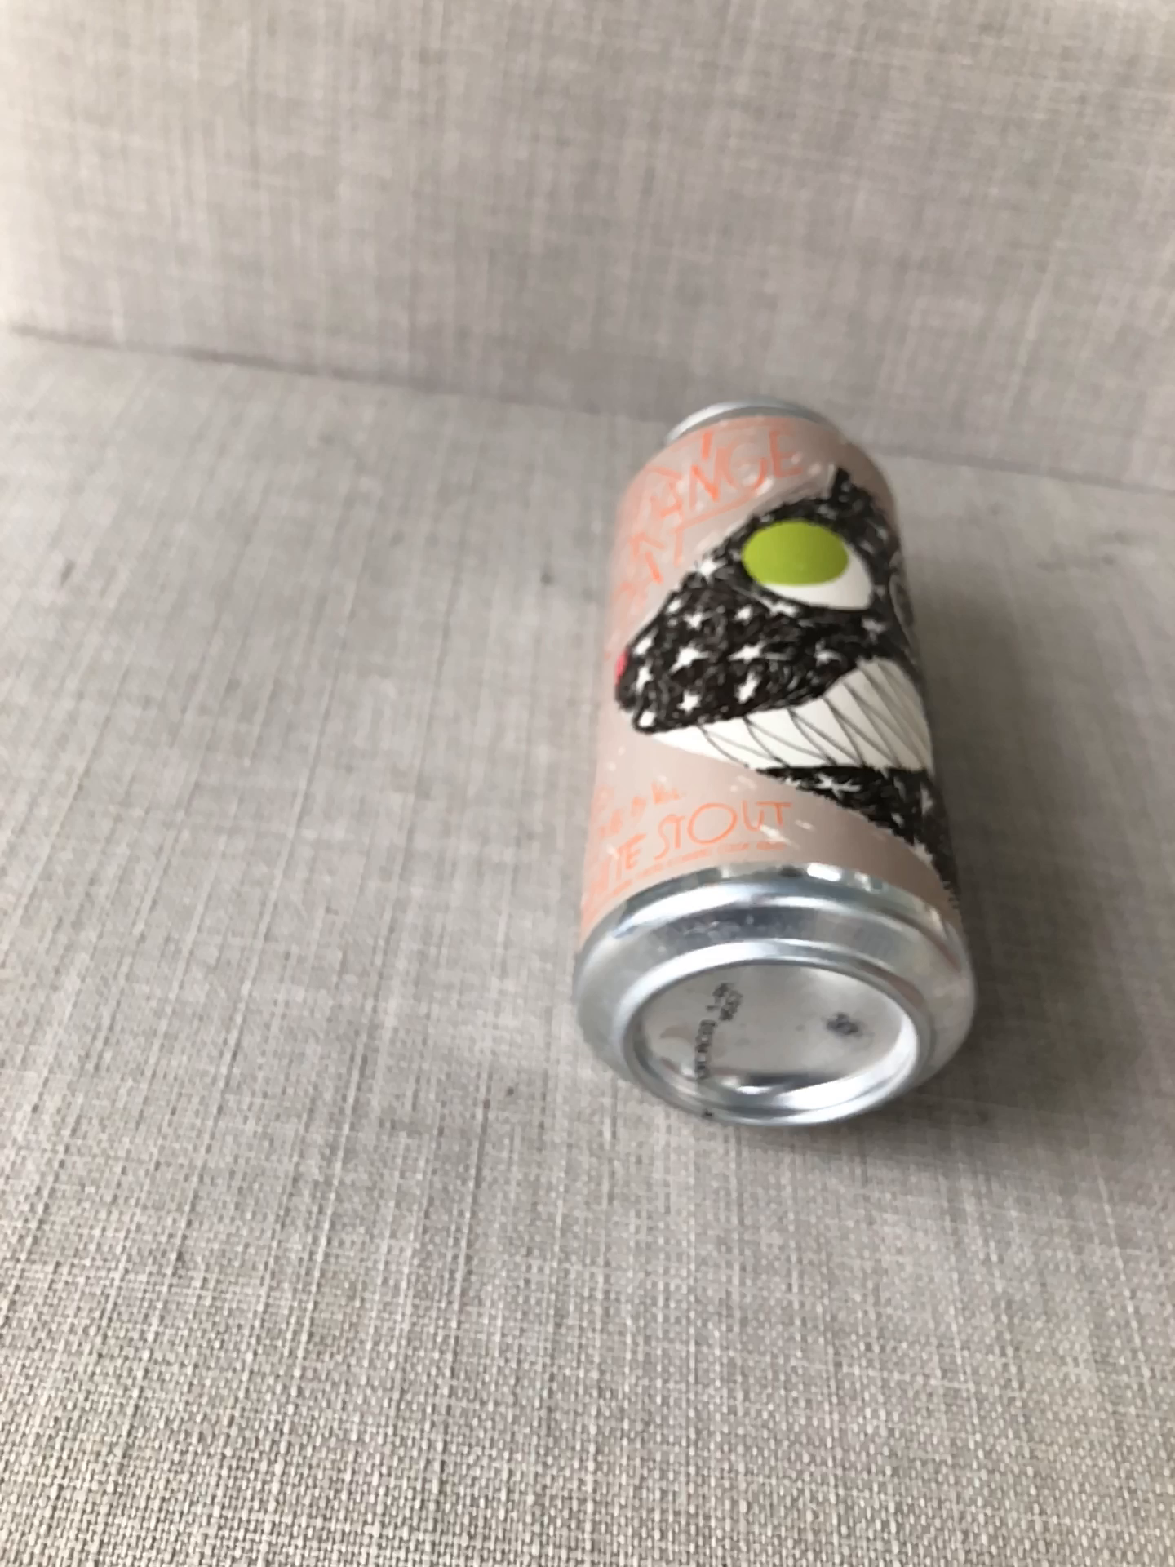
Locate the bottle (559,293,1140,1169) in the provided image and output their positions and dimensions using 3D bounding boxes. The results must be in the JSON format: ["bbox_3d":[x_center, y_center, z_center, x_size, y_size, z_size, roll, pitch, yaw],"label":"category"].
[{"bbox_3d":[0.039,-0.017,0.252,0.070,0.069,0.151,8,49,-4],"label":"bottle"}]
